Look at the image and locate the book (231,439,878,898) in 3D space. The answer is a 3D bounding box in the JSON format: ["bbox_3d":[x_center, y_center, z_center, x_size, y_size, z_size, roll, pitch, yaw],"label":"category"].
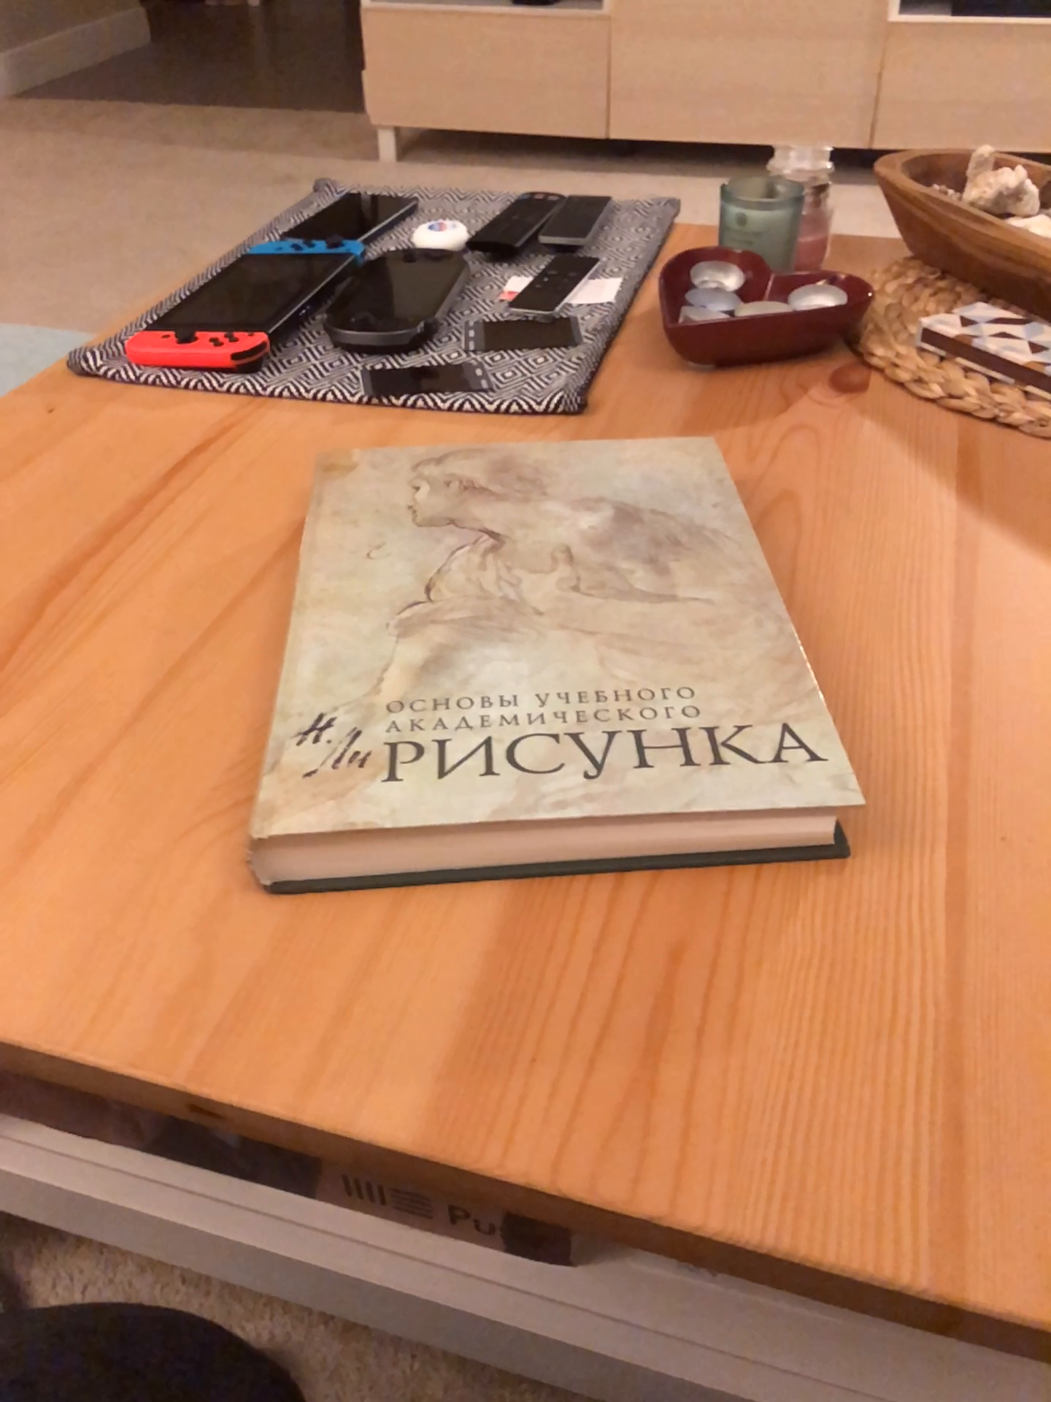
[{"bbox_3d":[0.002,-0.034,0.497,0.214,0.030,0.273,-2,39,-3],"label":"book"}]
